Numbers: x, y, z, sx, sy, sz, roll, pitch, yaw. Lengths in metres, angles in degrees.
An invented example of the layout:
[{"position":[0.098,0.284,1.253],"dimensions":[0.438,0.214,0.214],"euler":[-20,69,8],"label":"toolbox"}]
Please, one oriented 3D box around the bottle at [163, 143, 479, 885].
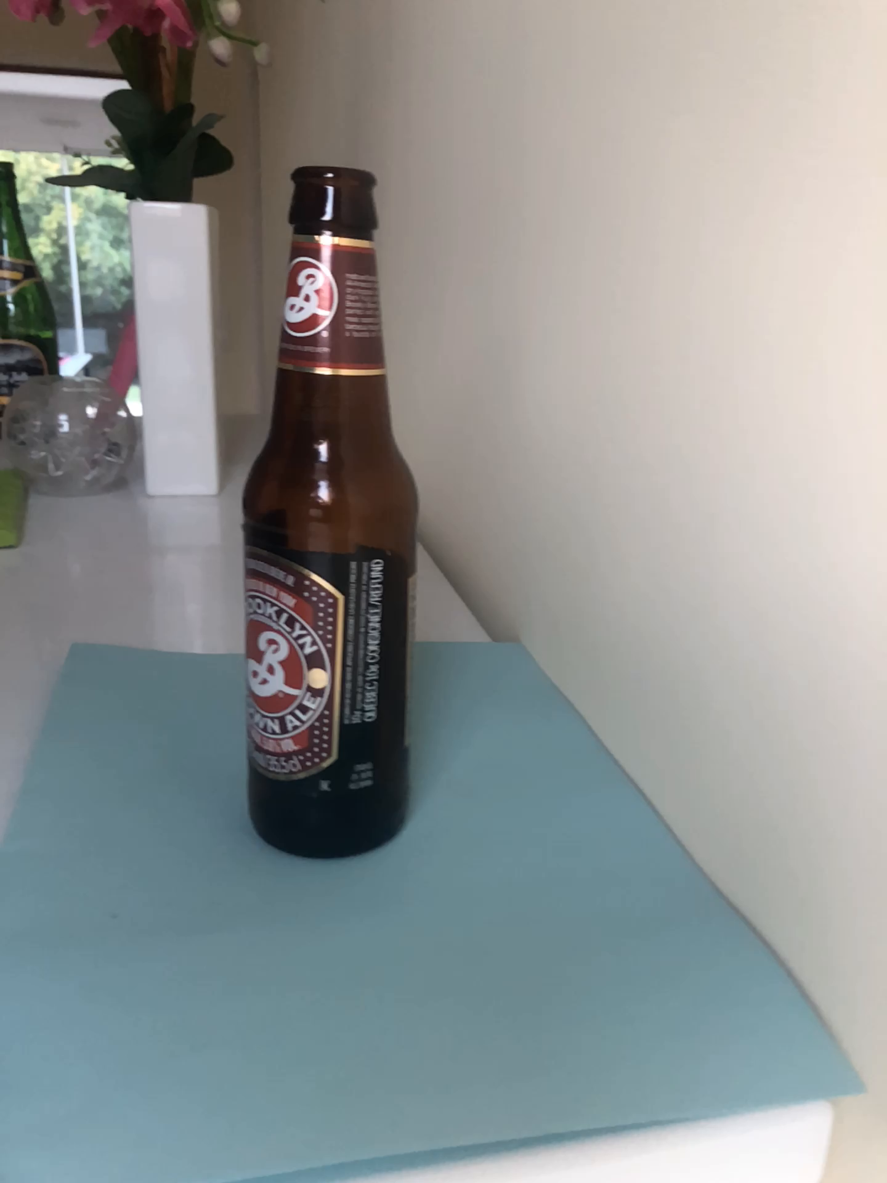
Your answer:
[{"position":[-0.042,-0.026,0.342],"dimensions":[0.070,0.229,0.070],"euler":[2,17,-1],"label":"bottle"}]
